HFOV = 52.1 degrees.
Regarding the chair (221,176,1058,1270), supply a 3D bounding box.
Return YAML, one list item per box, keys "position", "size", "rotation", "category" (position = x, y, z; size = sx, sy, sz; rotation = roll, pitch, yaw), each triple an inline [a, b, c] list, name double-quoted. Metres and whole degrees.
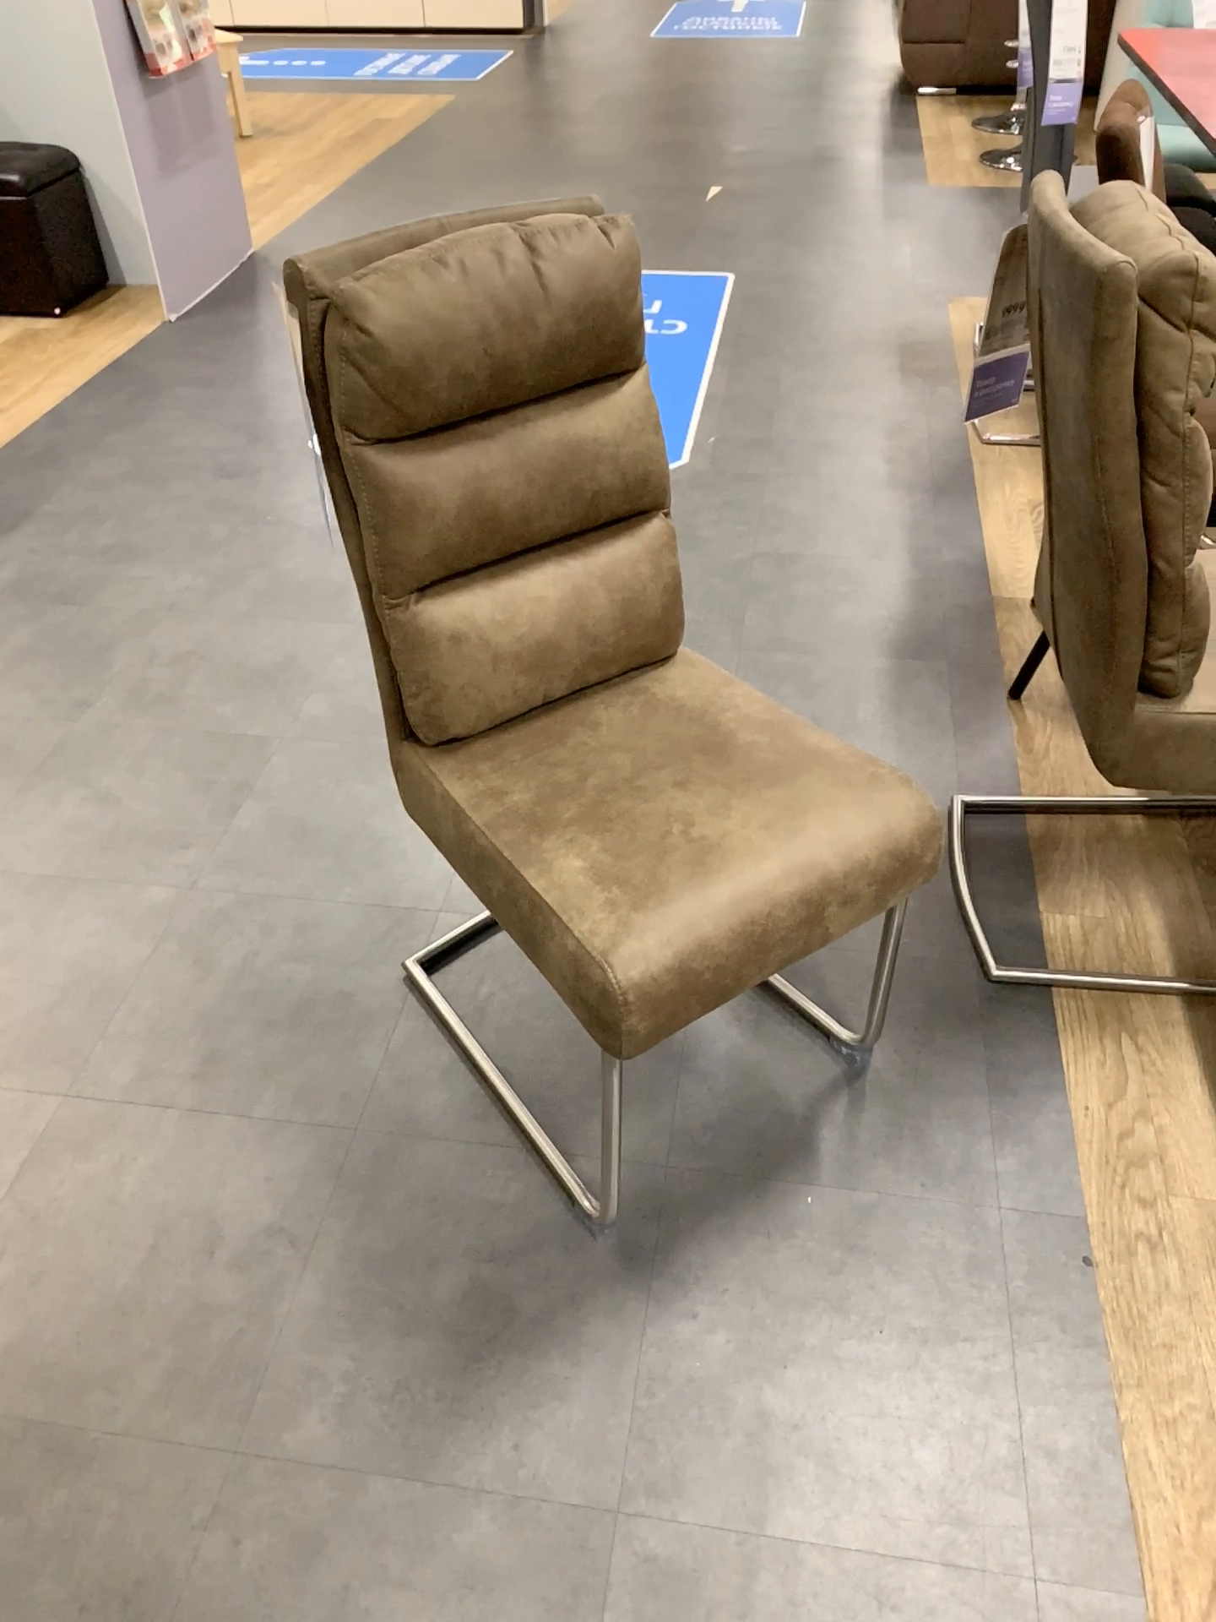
- position: [0.012, -0.097, 1.443]
  size: [0.501, 0.994, 0.602]
  rotation: [-25, 45, -26]
  category: "chair"
